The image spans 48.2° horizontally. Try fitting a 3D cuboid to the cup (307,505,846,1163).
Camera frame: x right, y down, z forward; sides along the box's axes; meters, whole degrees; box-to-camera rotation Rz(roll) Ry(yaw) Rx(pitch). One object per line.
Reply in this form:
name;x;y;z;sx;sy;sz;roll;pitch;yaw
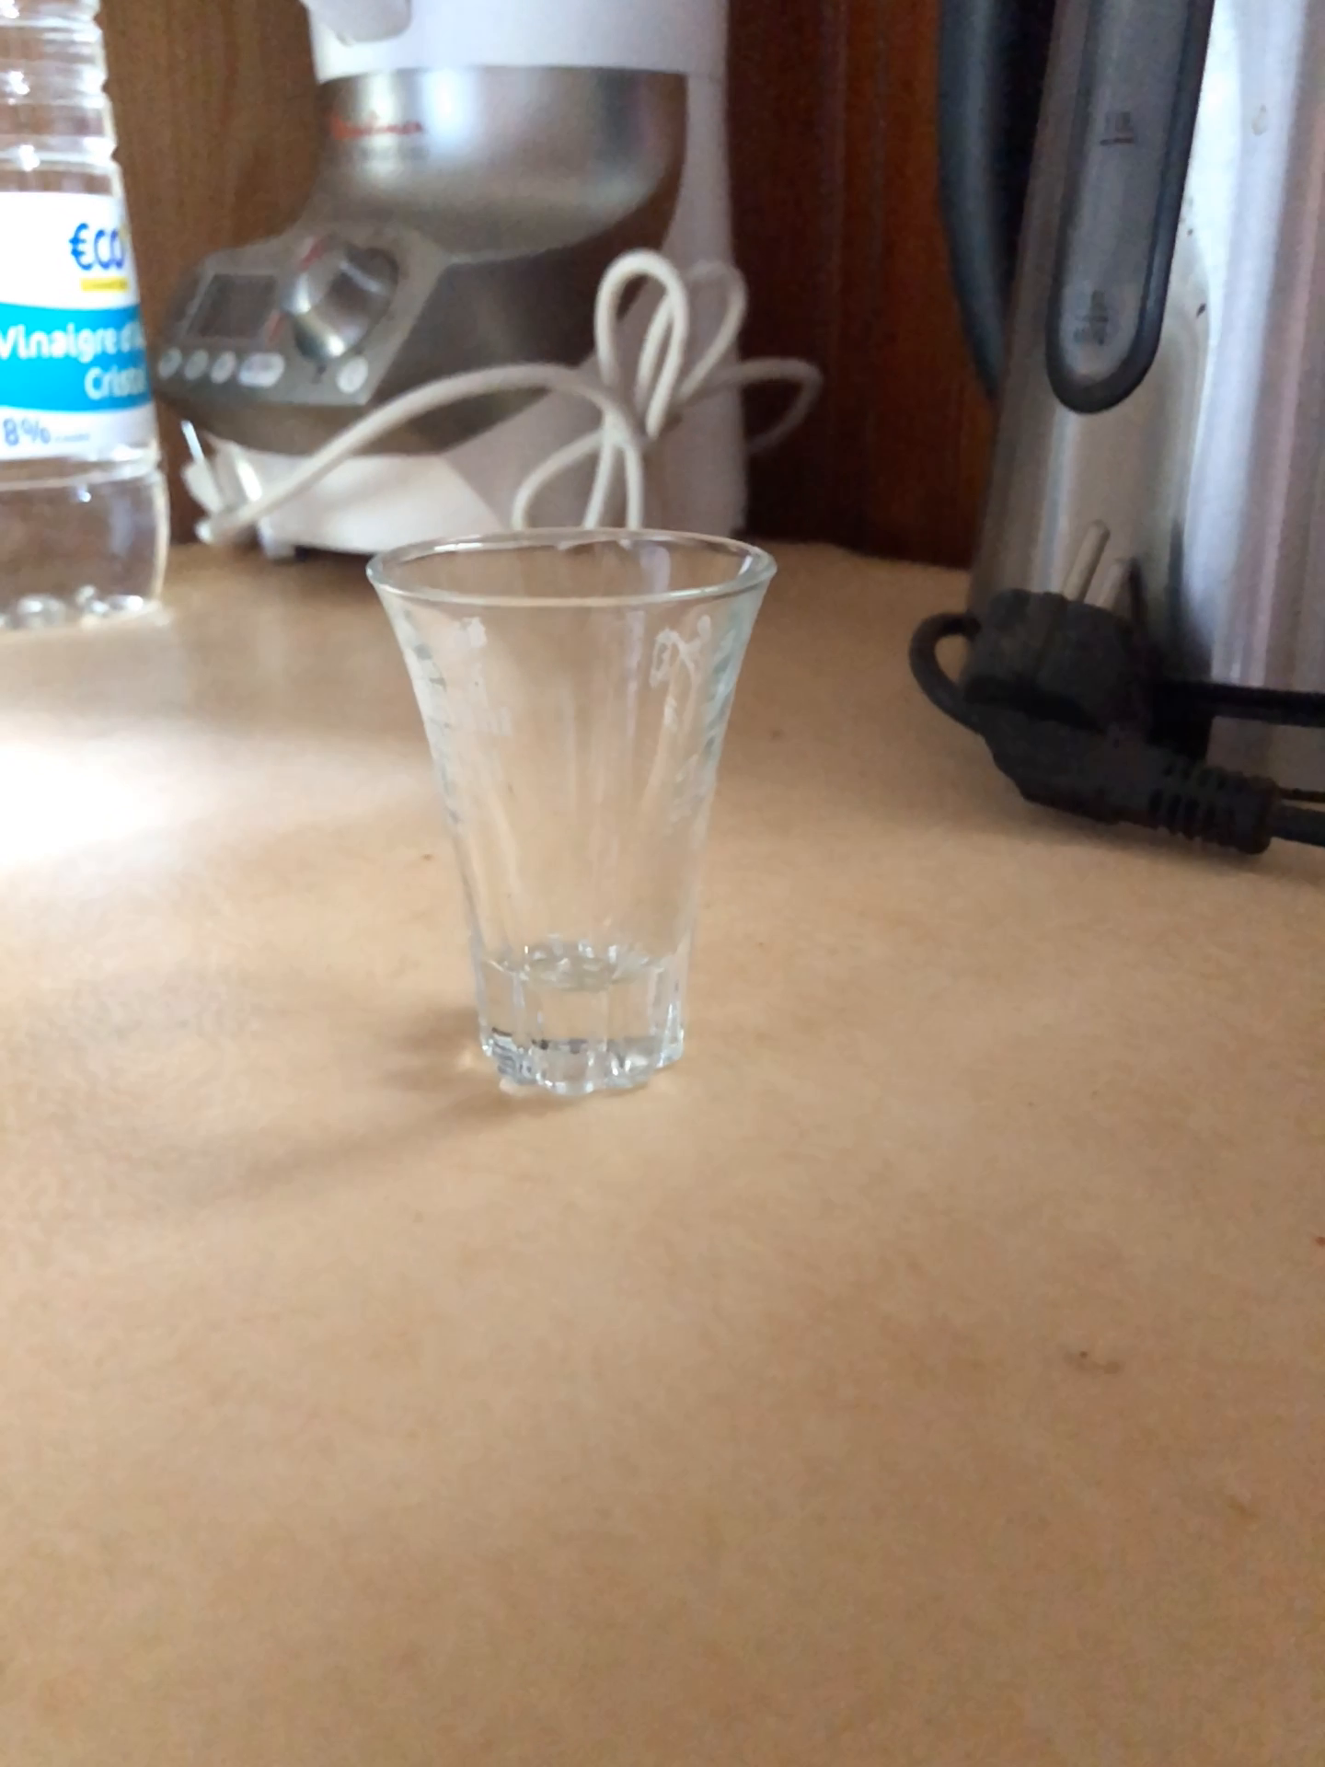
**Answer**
cup;-0.011;-0.011;0.204;0.050;0.070;0.050;-1;22;0
